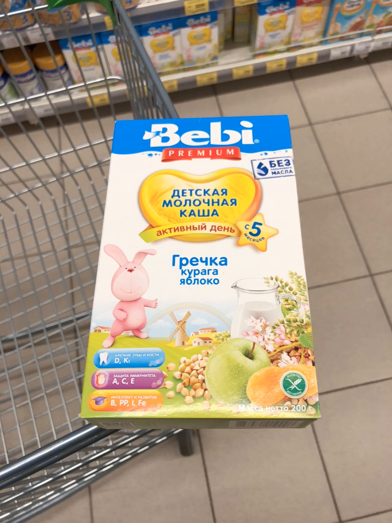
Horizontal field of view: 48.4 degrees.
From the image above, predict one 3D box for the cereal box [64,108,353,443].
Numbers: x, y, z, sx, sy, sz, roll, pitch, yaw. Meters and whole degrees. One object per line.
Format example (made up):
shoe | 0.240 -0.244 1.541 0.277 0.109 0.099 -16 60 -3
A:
cereal box | 0.007 0.000 0.281 0.140 0.050 0.210 -1 63 3
